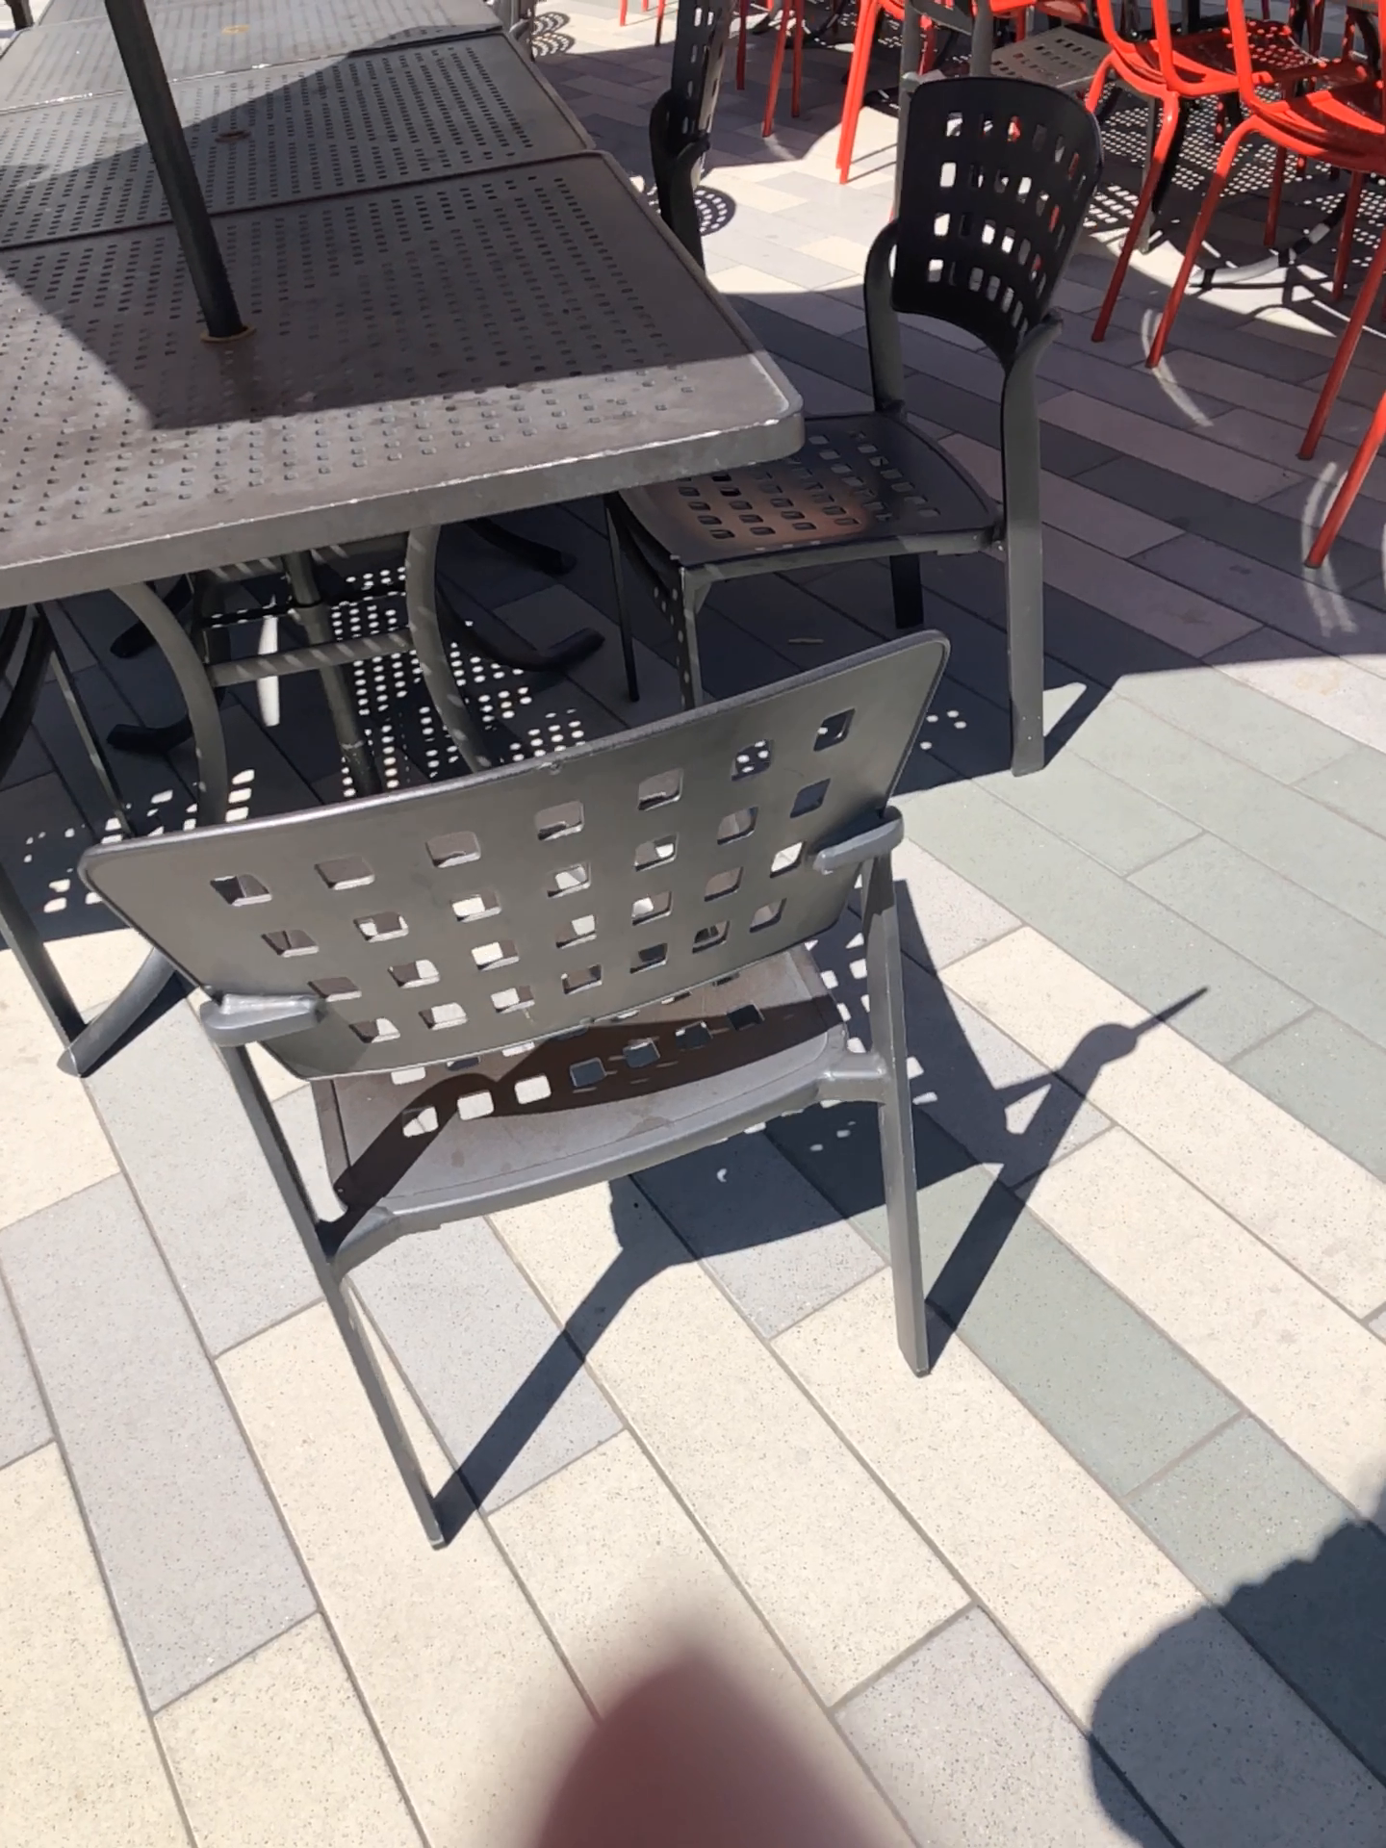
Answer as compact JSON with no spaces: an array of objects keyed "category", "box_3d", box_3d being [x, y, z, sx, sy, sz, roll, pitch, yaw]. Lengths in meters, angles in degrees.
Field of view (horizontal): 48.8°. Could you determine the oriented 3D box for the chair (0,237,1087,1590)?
[{"category":"chair","box_3d":[-0.108,0.001,1.166,0.520,0.756,0.533,-17,45,-12]}]
